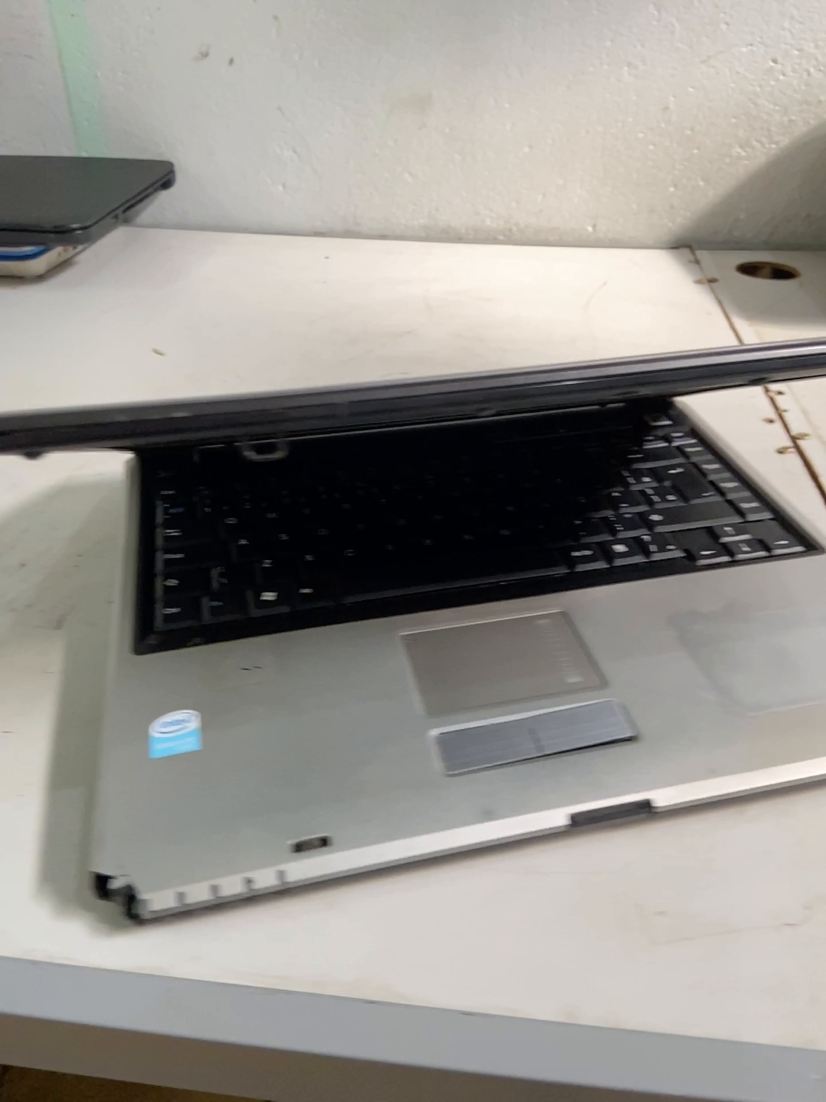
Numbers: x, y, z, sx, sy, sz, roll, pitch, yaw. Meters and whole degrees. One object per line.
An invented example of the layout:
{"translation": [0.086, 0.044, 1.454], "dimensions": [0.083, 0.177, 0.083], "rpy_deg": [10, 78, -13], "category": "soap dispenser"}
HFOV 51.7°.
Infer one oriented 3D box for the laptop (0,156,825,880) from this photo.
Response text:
{"translation": [0.034, -0.049, 0.343], "dimensions": [0.317, 0.130, 0.255], "rpy_deg": [-8, 37, -9], "category": "laptop"}
